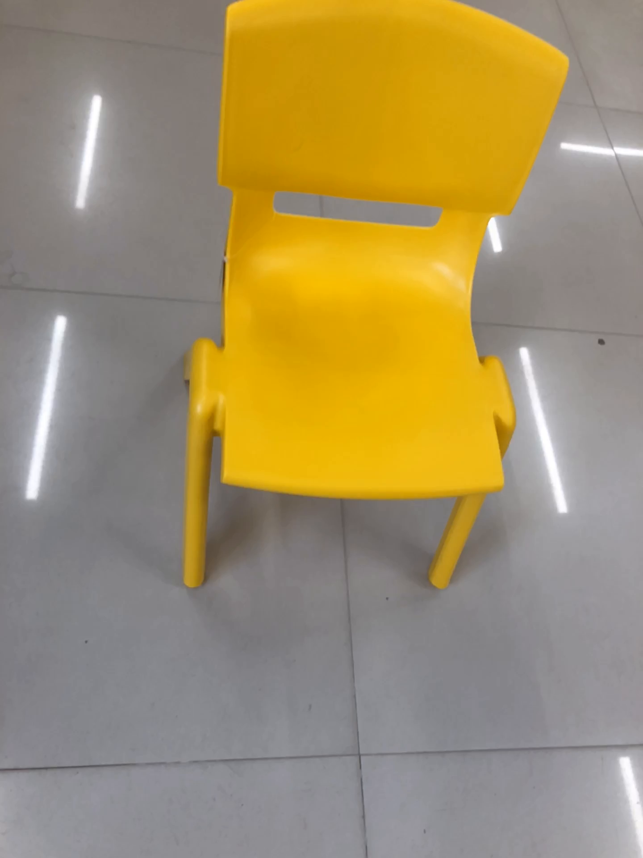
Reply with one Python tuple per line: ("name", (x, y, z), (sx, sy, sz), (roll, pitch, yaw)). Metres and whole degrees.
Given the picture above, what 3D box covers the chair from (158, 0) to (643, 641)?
("chair", (0.045, -0.088, 0.661), (0.360, 0.398, 0.452), (1, 59, -11))
